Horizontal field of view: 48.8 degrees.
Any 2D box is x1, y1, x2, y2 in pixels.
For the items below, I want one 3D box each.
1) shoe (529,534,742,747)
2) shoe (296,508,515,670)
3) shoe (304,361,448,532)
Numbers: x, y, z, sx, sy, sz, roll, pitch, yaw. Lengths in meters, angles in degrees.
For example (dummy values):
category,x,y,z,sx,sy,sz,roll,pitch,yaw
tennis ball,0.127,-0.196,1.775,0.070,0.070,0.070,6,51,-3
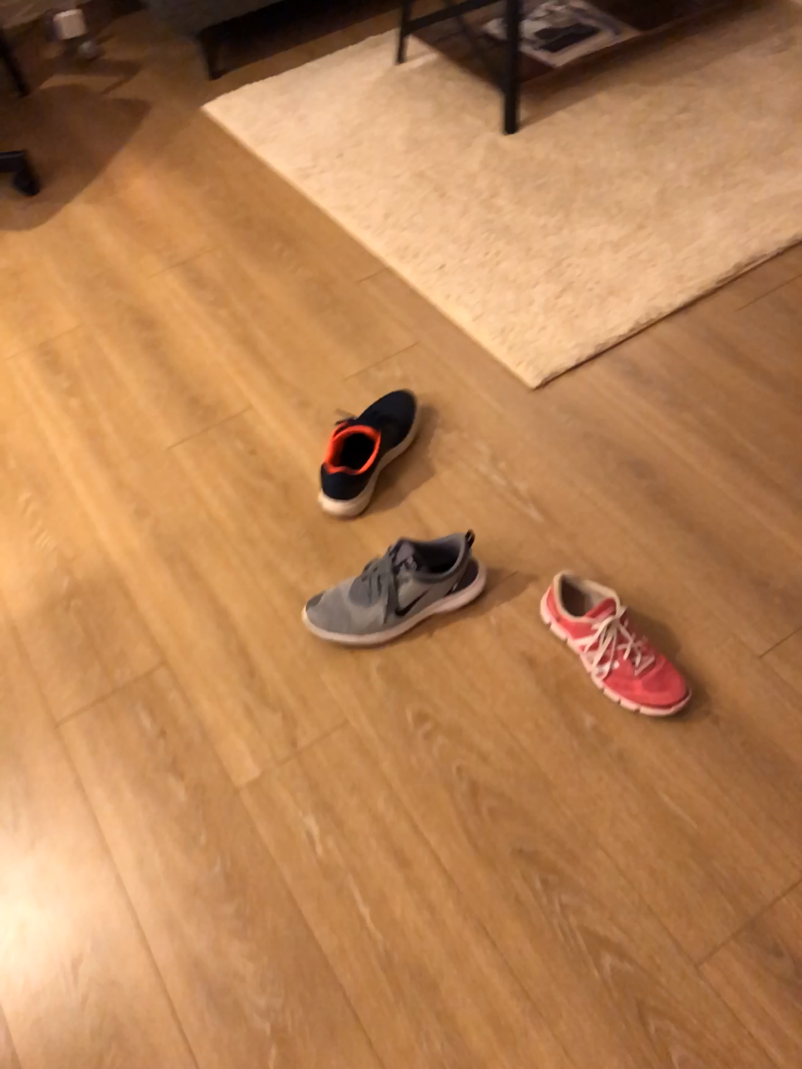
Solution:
category,x,y,z,sx,sy,sz,roll,pitch,yaw
shoe,0.333,0.148,1.298,0.140,0.090,0.281,-31,55,-17
shoe,0.009,0.083,1.368,0.306,0.110,0.130,-16,52,-6
shoe,-0.037,-0.164,1.584,0.130,0.100,0.301,17,56,19
